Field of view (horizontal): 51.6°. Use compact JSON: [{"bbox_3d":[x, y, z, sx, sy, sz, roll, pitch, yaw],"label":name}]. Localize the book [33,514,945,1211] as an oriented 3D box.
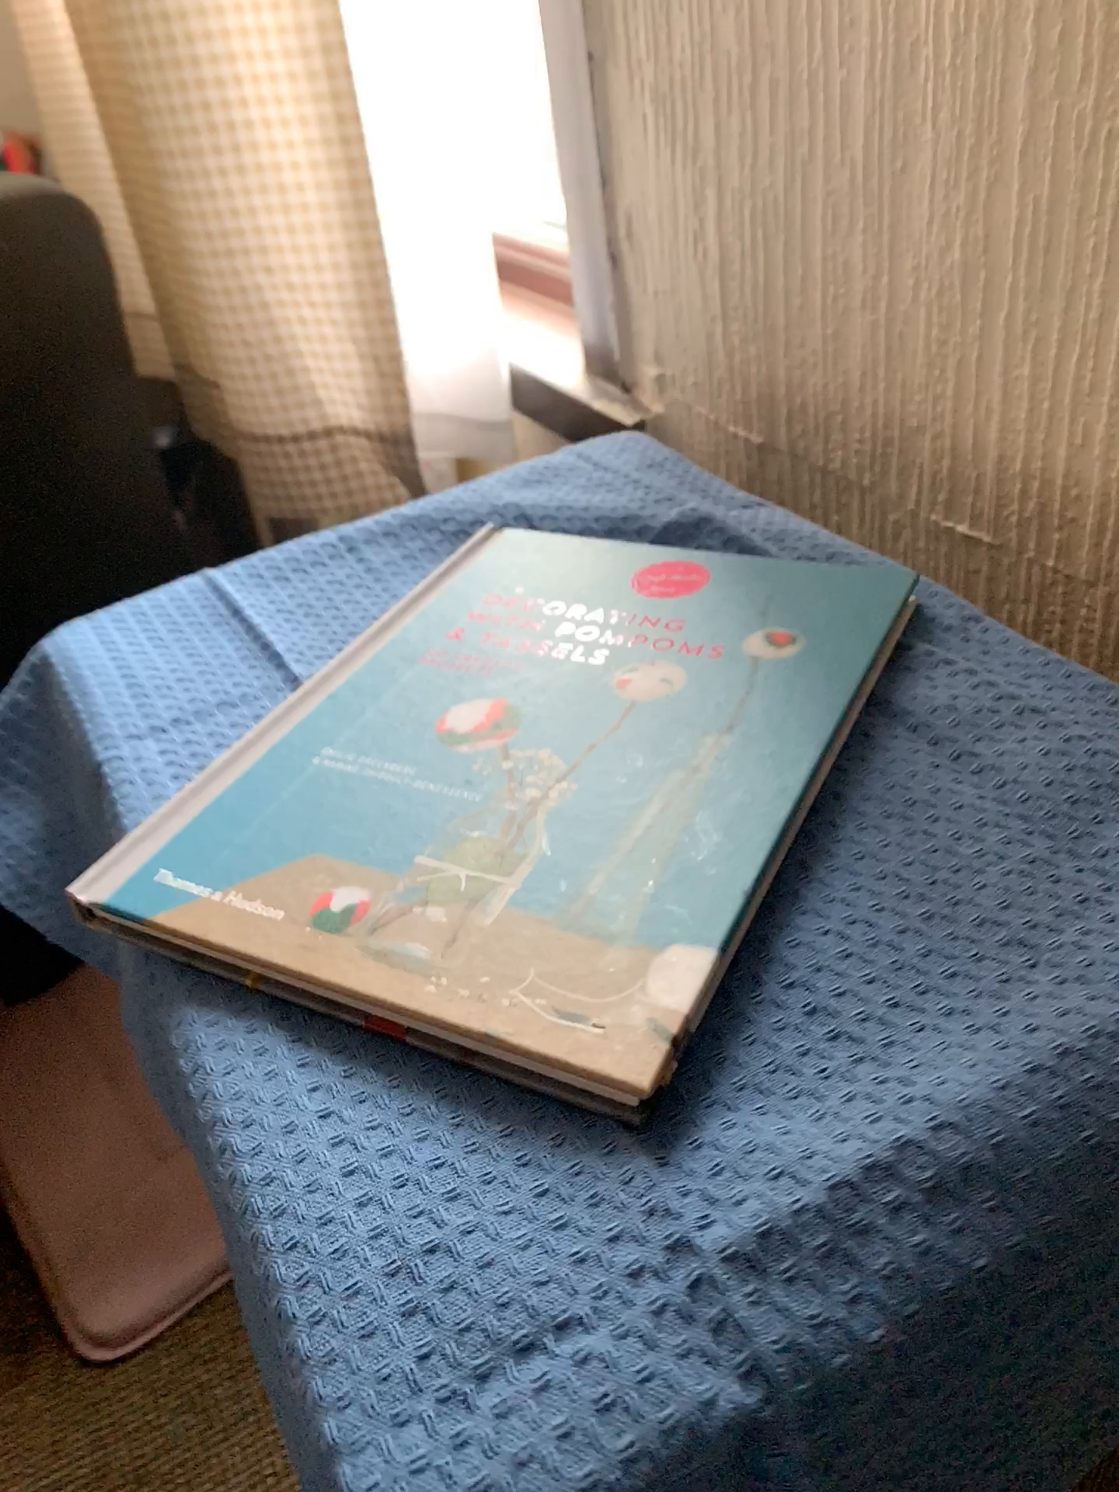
[{"bbox_3d":[-0.003,0.001,0.370,0.190,0.020,0.252,13,41,25],"label":"book"}]
